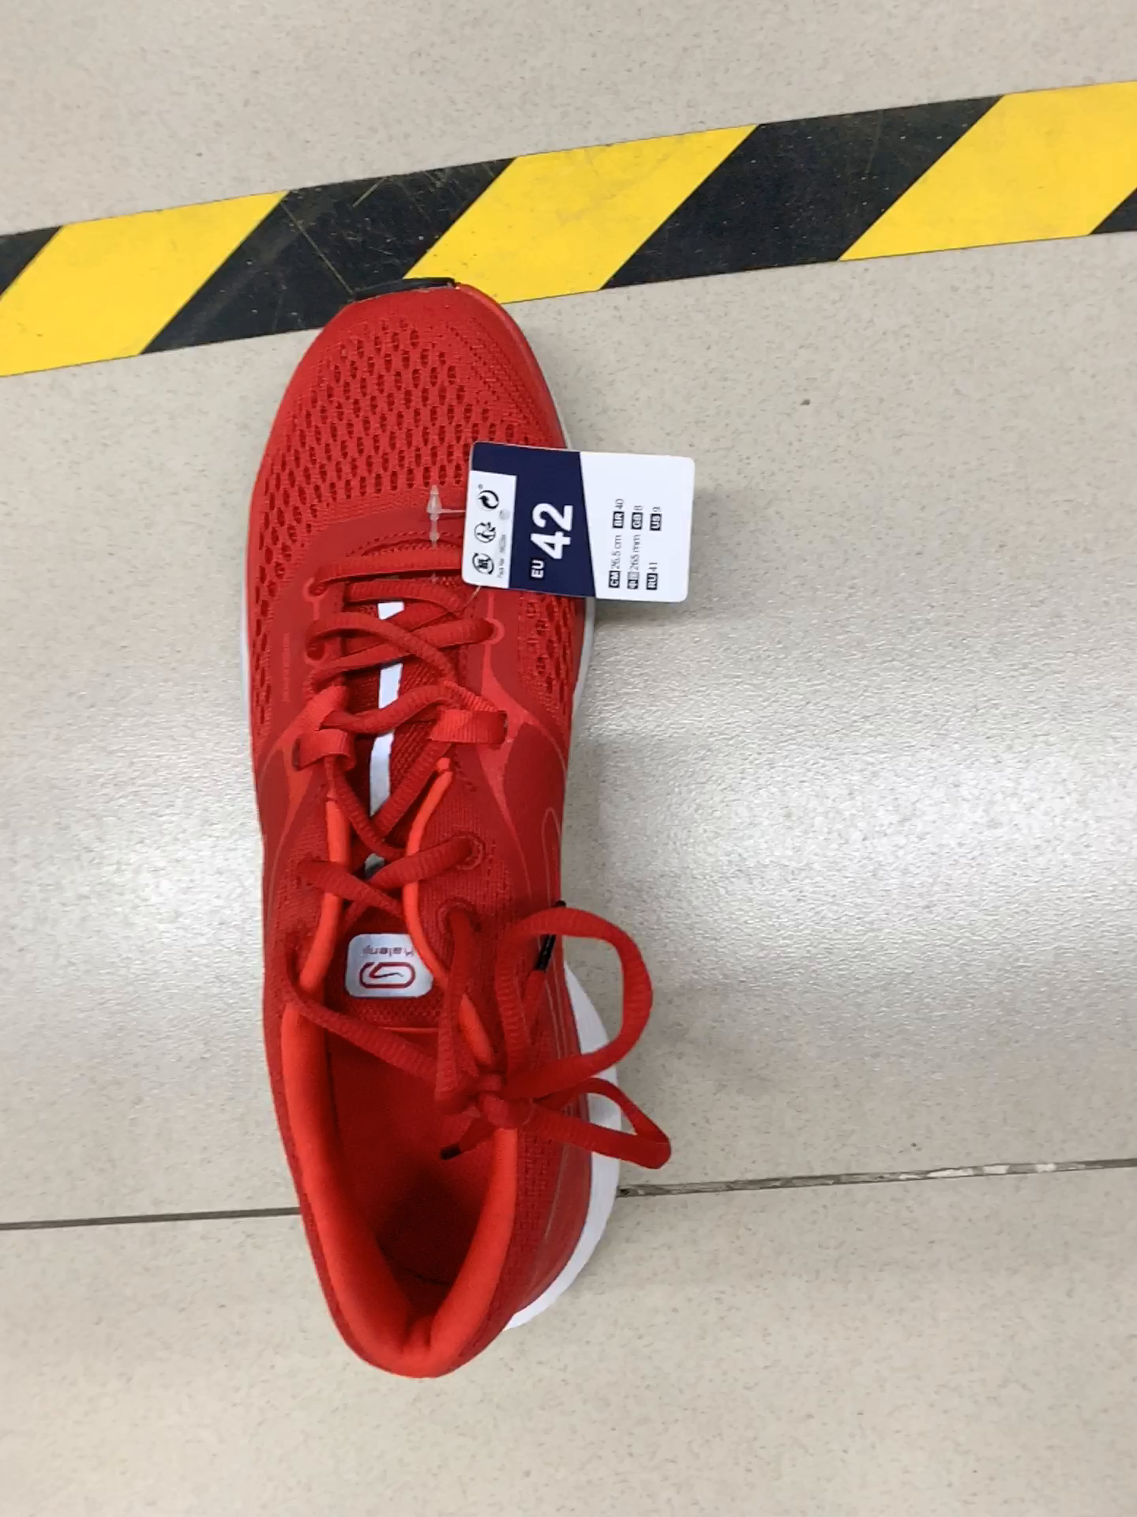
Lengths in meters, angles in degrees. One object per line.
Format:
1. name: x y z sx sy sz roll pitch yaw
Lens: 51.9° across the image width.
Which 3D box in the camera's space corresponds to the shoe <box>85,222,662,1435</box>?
1. shoe: -0.046 0.018 0.323 0.120 0.090 0.280 -5 87 5
